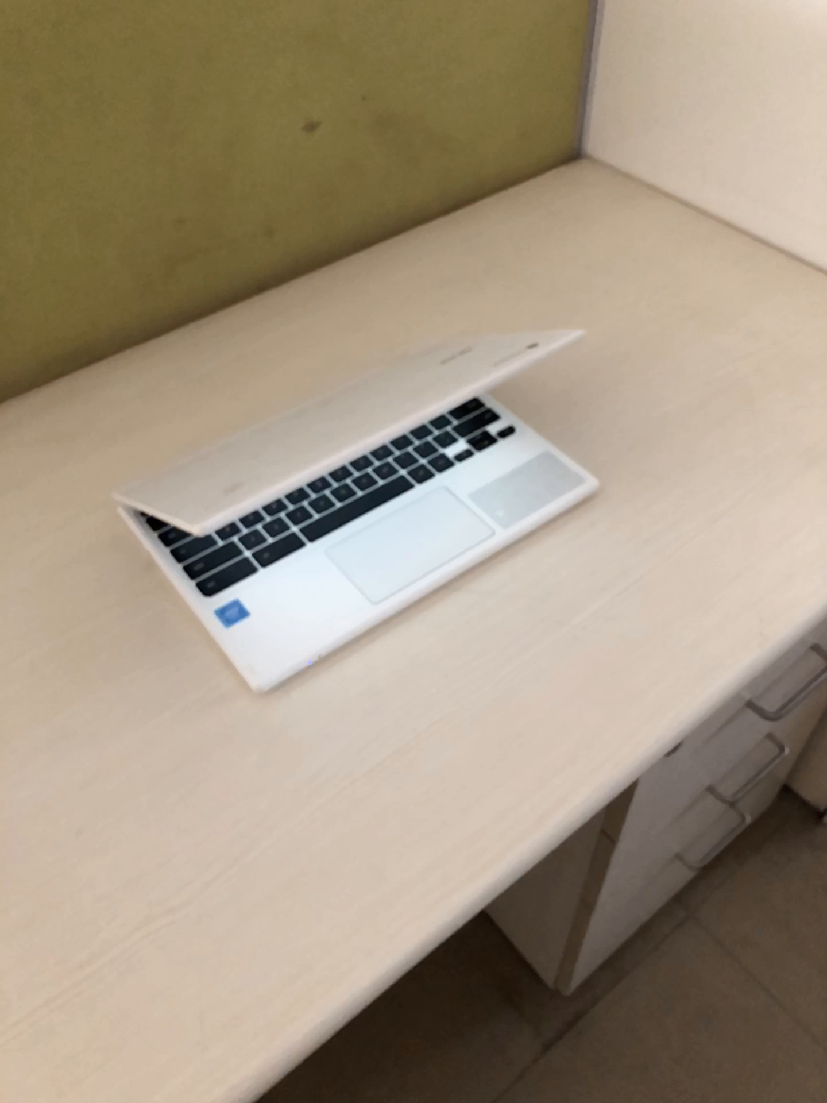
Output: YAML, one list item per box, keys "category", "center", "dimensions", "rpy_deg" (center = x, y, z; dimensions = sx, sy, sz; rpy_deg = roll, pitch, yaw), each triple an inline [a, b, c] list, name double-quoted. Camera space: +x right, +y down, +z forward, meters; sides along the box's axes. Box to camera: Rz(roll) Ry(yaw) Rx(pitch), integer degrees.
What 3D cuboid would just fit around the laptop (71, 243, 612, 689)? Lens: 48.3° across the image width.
- category: "laptop"
  center: [-0.043, -0.076, 0.636]
  dimensions: [0.290, 0.105, 0.197]
  rpy_deg: [-30, 55, -24]
